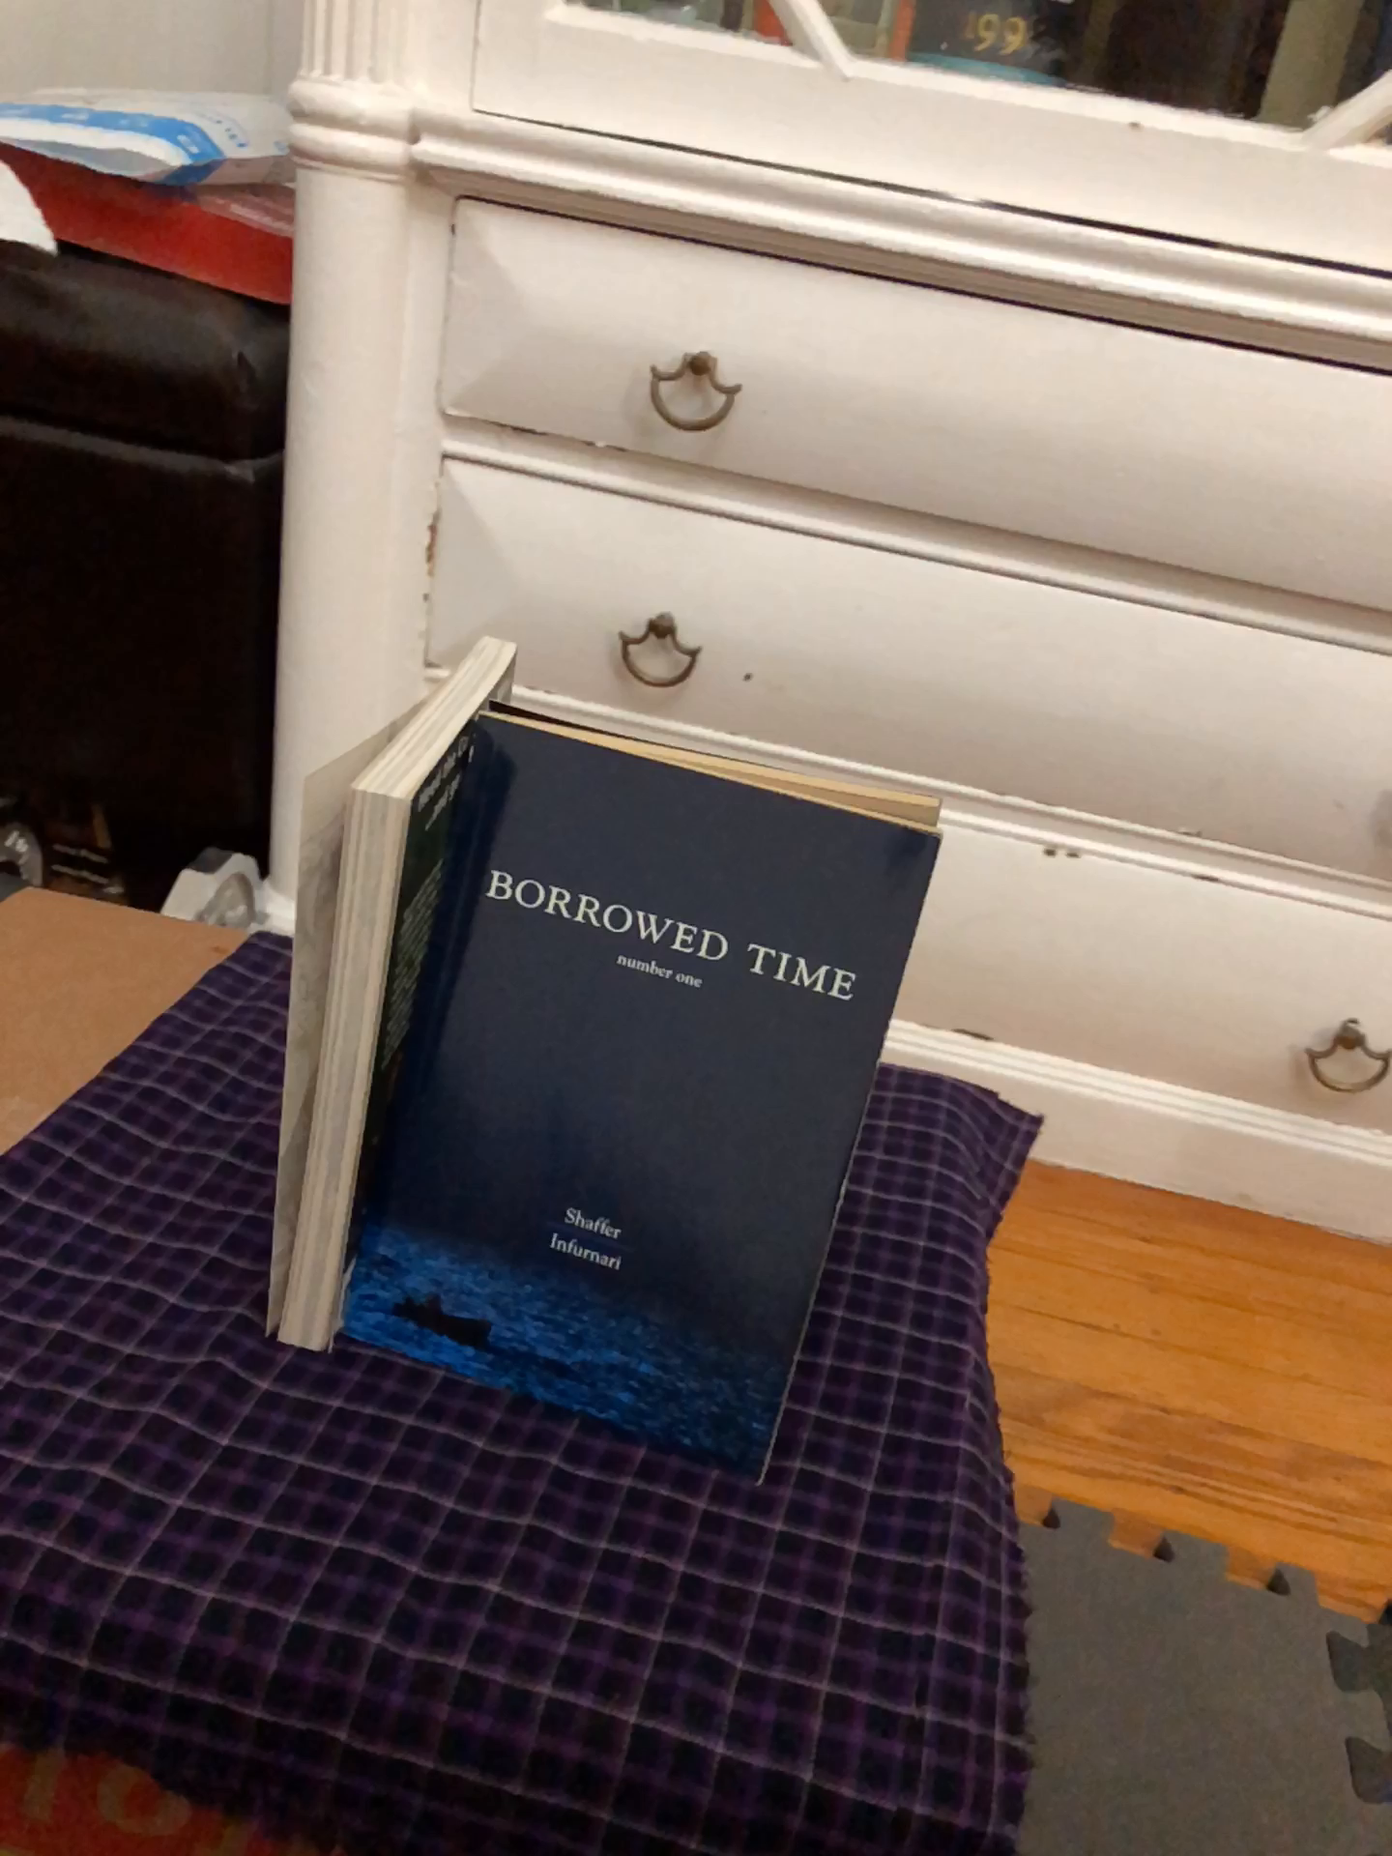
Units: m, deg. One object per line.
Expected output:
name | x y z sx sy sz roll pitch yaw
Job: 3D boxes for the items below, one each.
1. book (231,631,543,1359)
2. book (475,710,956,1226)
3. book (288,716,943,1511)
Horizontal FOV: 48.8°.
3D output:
book | -0.096 0.016 0.485 0.020 0.189 0.141 18 27 0
book | -0.003 0.023 0.512 0.140 0.199 0.010 12 45 5
book | -0.027 0.054 0.450 0.150 0.200 0.010 15 6 7
